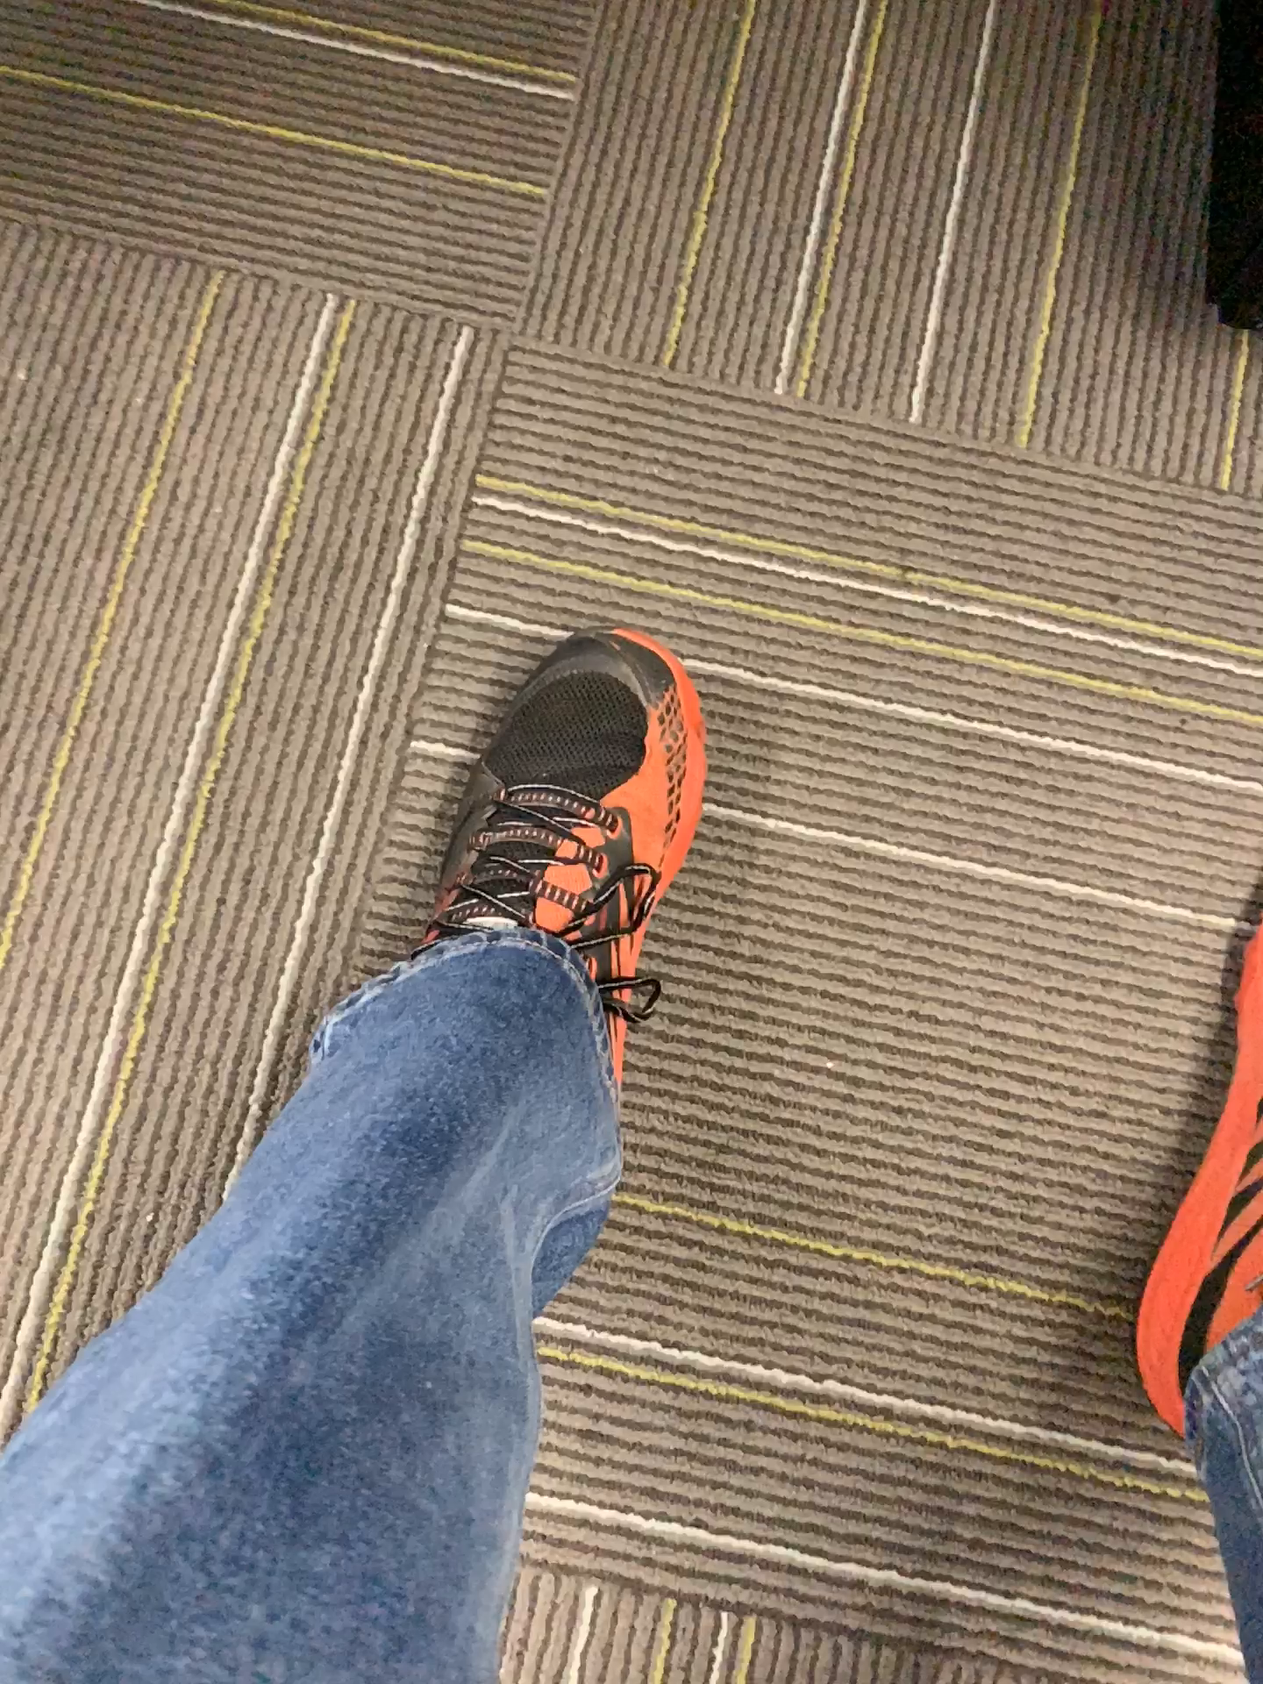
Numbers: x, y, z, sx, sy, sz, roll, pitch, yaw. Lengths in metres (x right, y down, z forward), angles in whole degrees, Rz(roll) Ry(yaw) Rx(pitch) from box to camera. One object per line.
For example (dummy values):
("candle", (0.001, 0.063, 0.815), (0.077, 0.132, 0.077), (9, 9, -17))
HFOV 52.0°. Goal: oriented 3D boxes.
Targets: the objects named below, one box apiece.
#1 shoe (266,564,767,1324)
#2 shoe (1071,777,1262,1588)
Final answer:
("shoe", (-0.042, 0.039, 0.585), (0.132, 0.090, 0.305), (9, 78, 19))
("shoe", (0.329, 0.142, 0.585), (0.140, 0.090, 0.302), (24, 79, -10))
